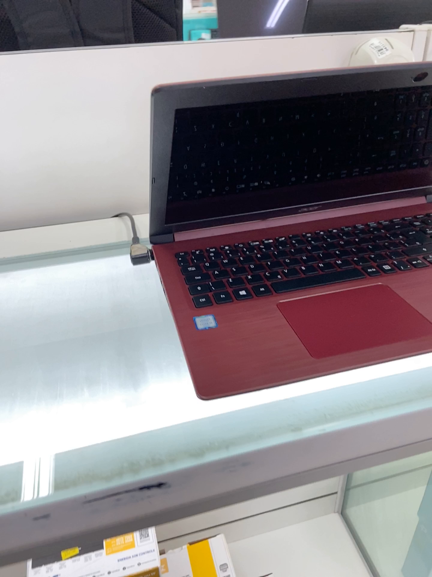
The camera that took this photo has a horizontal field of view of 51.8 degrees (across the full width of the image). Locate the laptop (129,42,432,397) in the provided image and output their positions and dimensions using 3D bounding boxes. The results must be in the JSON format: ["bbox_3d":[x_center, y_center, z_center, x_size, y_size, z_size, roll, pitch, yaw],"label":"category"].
[{"bbox_3d":[0.133,-0.094,0.381,0.367,0.179,0.239,-10,32,-12],"label":"laptop"}]
